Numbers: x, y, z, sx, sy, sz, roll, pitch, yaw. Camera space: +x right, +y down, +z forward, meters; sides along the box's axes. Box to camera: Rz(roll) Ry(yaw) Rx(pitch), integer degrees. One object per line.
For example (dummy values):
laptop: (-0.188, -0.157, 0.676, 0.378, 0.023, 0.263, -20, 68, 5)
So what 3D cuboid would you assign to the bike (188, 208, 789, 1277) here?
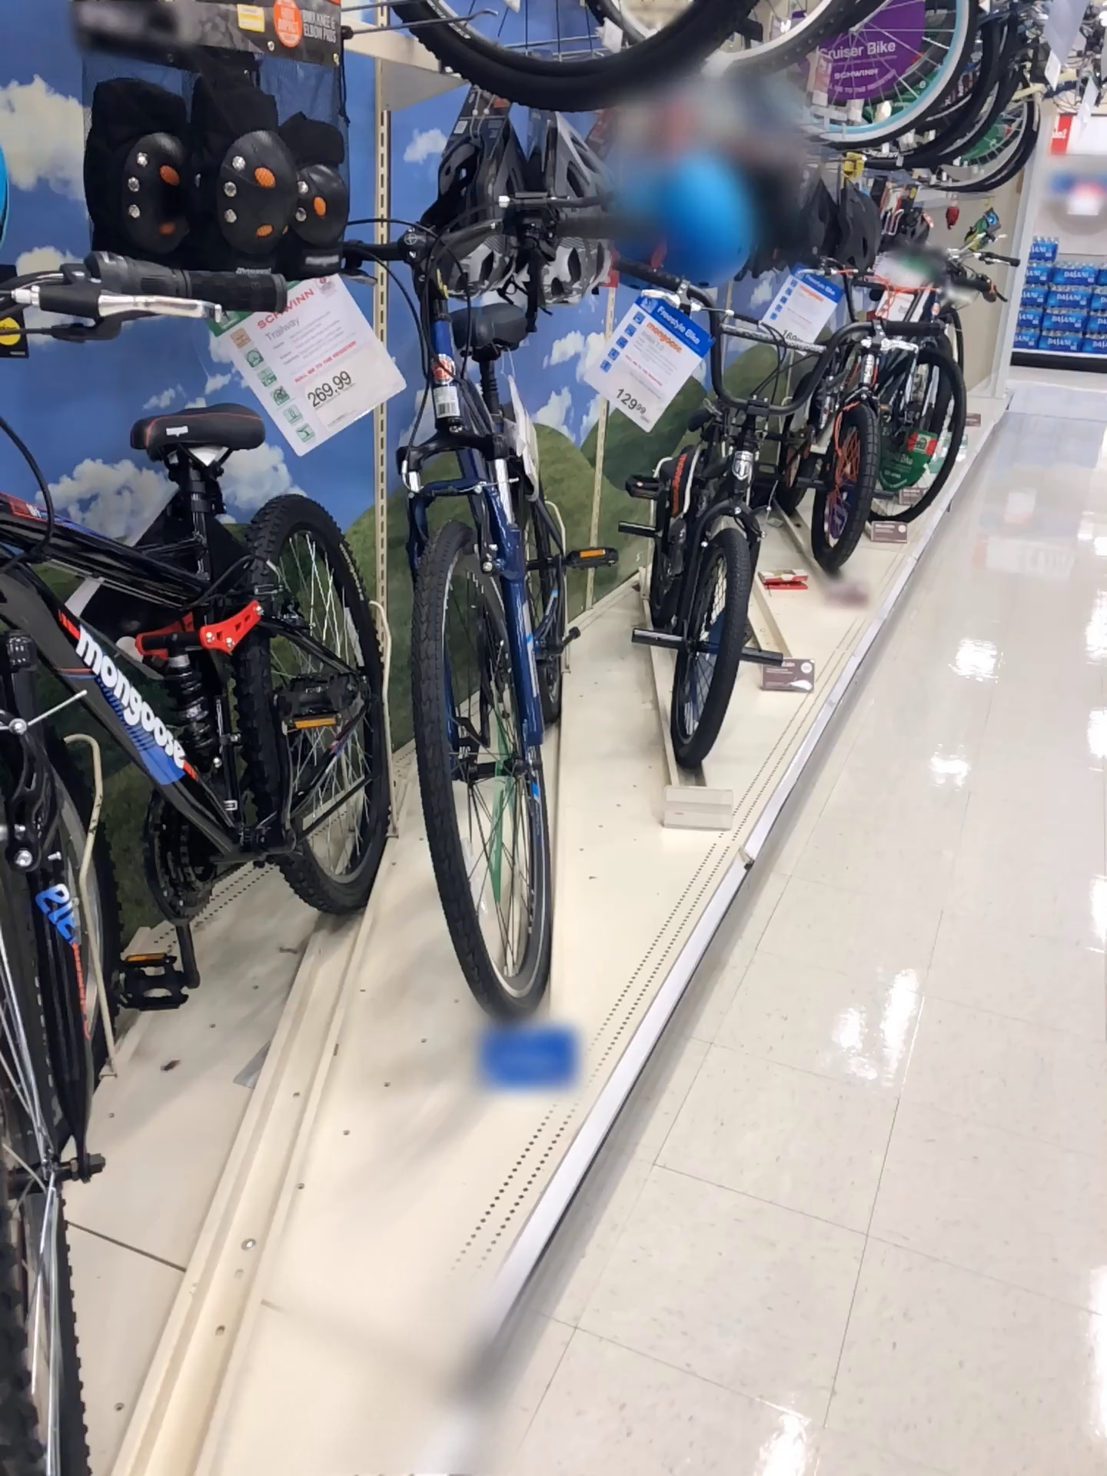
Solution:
bike: (-0.076, -0.250, 2.057, 0.529, 1.098, 1.747, 3, 25, 0)
